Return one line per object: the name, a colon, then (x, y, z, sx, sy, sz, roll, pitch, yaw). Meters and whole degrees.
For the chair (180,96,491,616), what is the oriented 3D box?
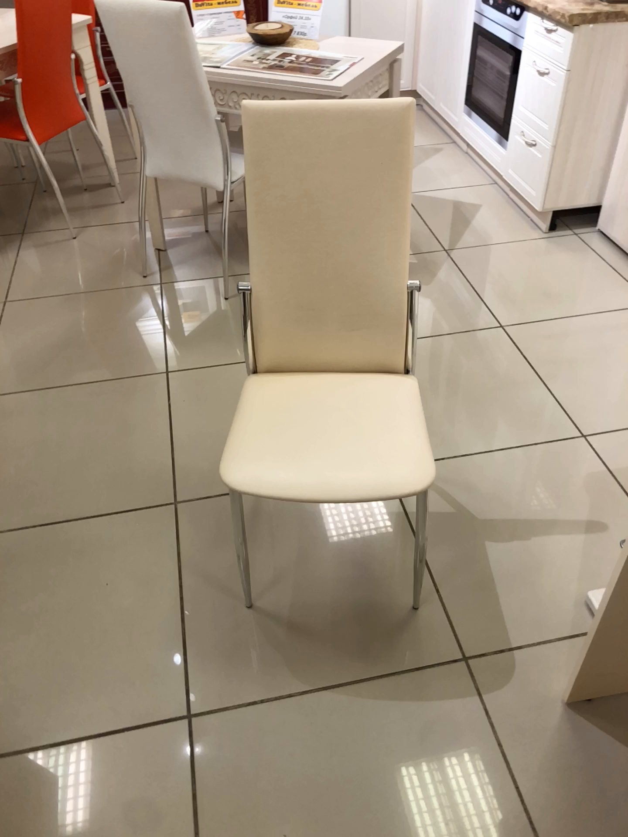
chair: (0.047, -0.088, 1.460, 0.430, 0.975, 0.503, 1, 40, 3)
